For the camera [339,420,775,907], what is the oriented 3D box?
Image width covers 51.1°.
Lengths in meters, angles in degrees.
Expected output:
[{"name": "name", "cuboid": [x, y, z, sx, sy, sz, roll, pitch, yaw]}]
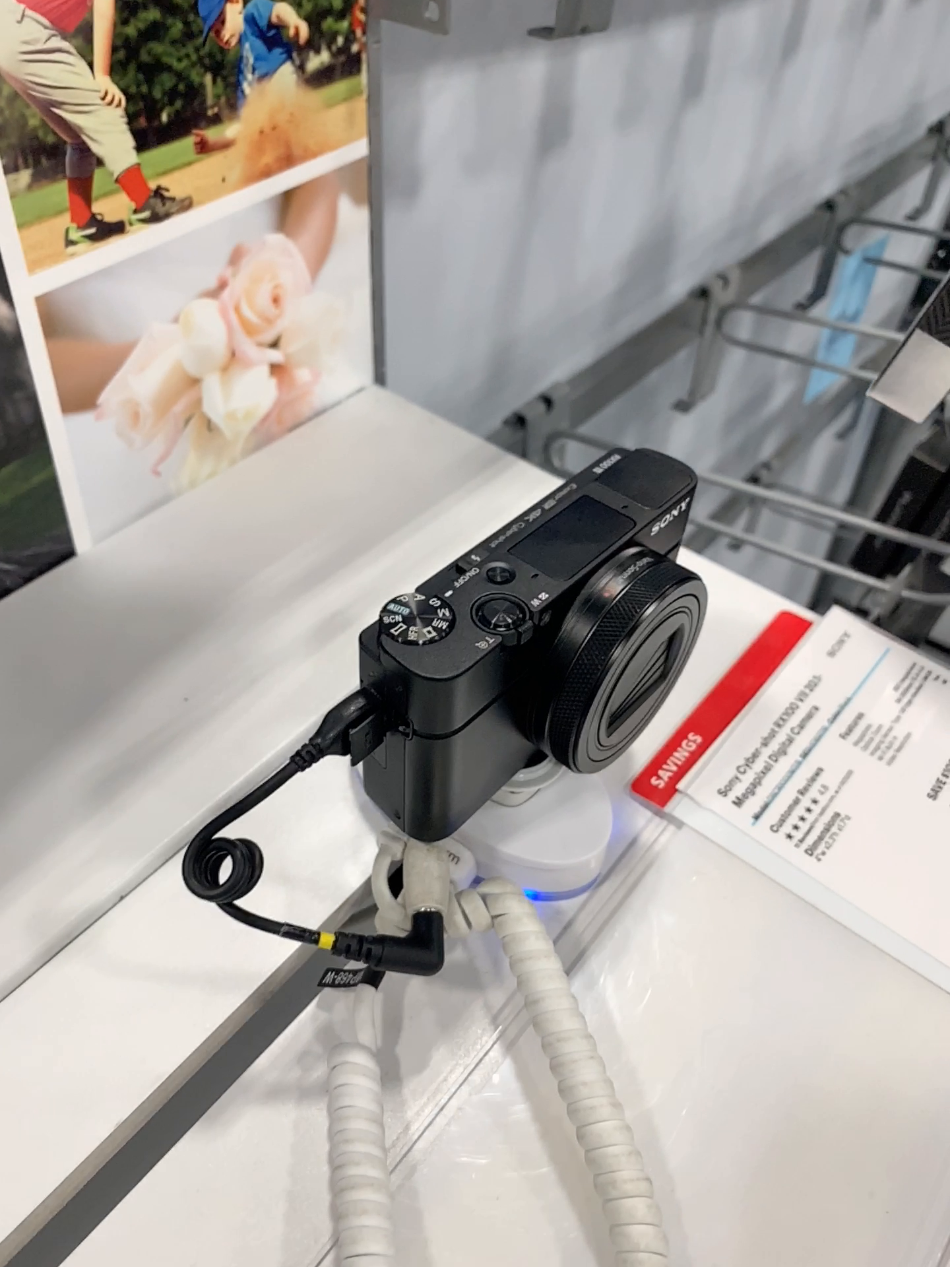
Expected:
[{"name": "camera", "cuboid": [0.022, 0.002, 0.241, 0.043, 0.060, 0.105, 31, 50, 26]}]
